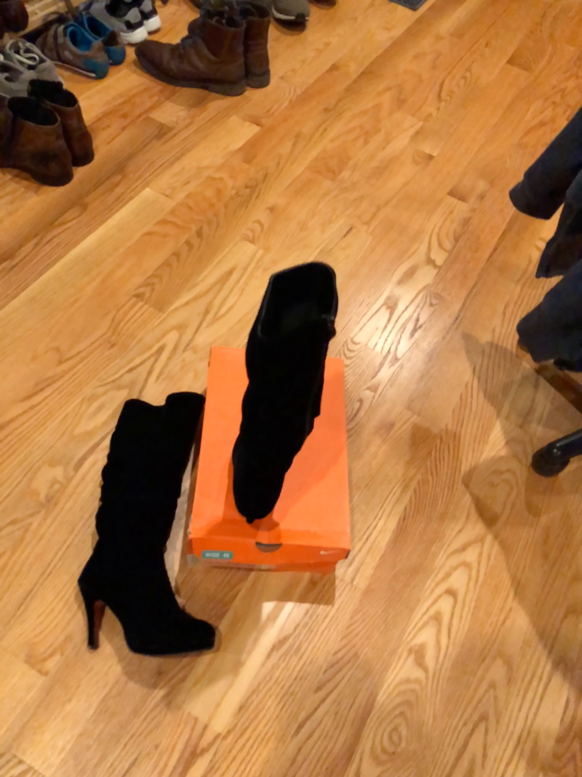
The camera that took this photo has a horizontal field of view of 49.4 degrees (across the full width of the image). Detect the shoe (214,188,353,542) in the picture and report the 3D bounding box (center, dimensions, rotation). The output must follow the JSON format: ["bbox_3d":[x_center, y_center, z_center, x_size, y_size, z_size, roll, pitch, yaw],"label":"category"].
[{"bbox_3d":[-0.020,0.002,0.747,0.089,0.397,0.217,9,55,-4],"label":"shoe"}]

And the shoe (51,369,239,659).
[{"bbox_3d":[-0.190,0.166,0.918,0.206,0.089,0.401,4,56,-5],"label":"shoe"}]
